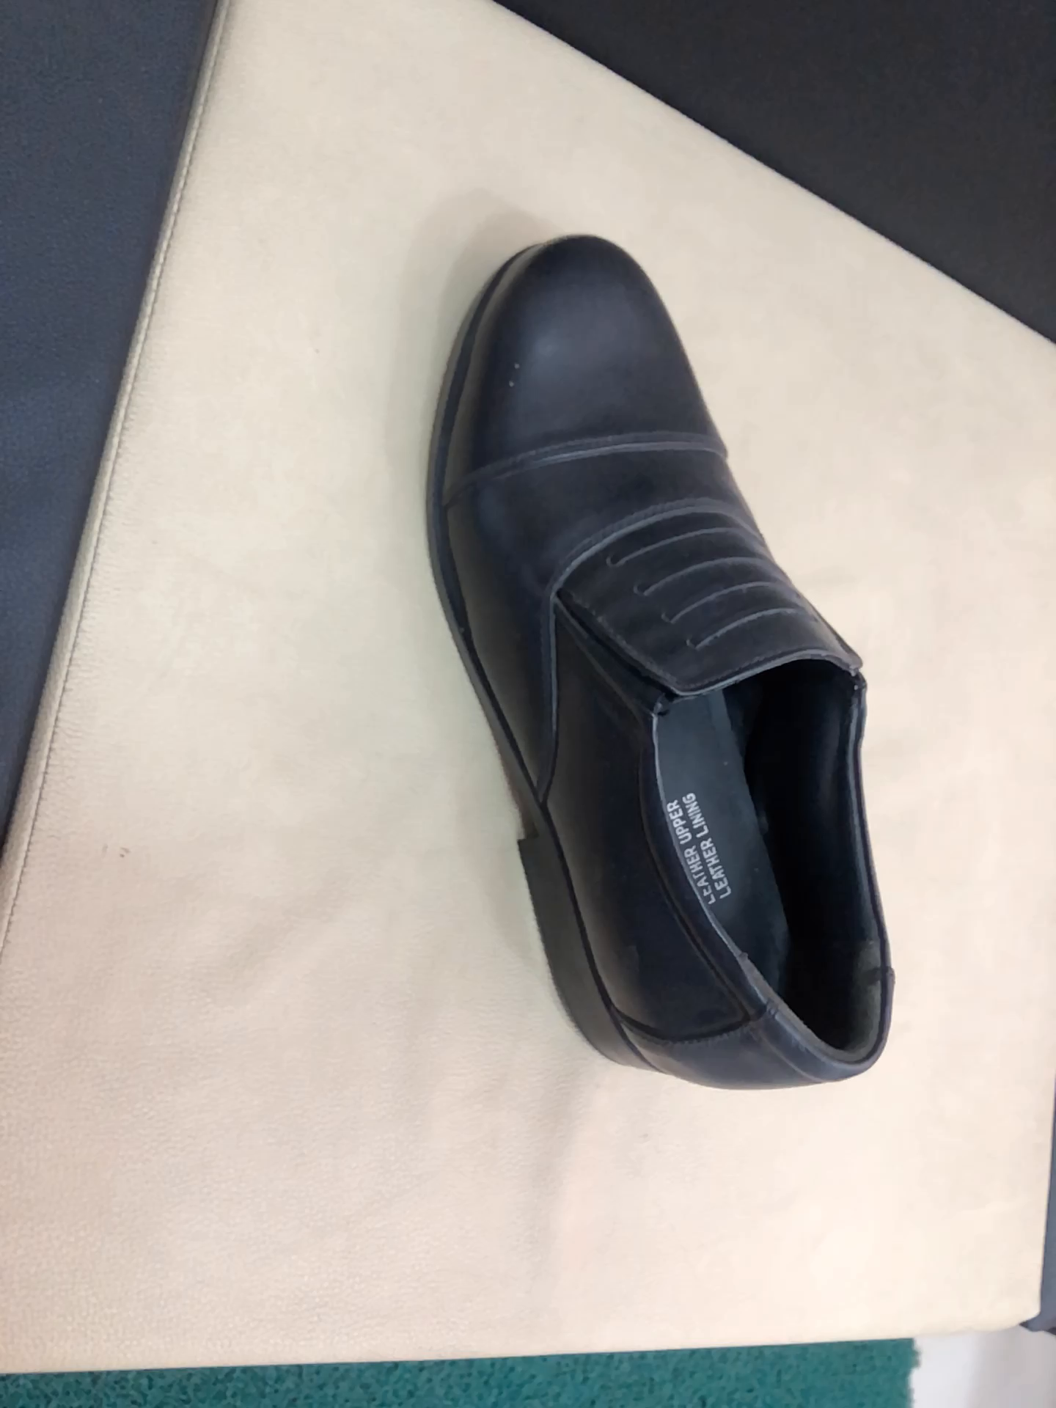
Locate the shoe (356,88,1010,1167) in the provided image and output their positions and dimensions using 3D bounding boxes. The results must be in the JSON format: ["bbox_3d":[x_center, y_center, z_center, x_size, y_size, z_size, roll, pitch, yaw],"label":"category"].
[{"bbox_3d":[0.043,-0.022,0.366,0.101,0.119,0.270,-14,94,-30],"label":"shoe"}]
